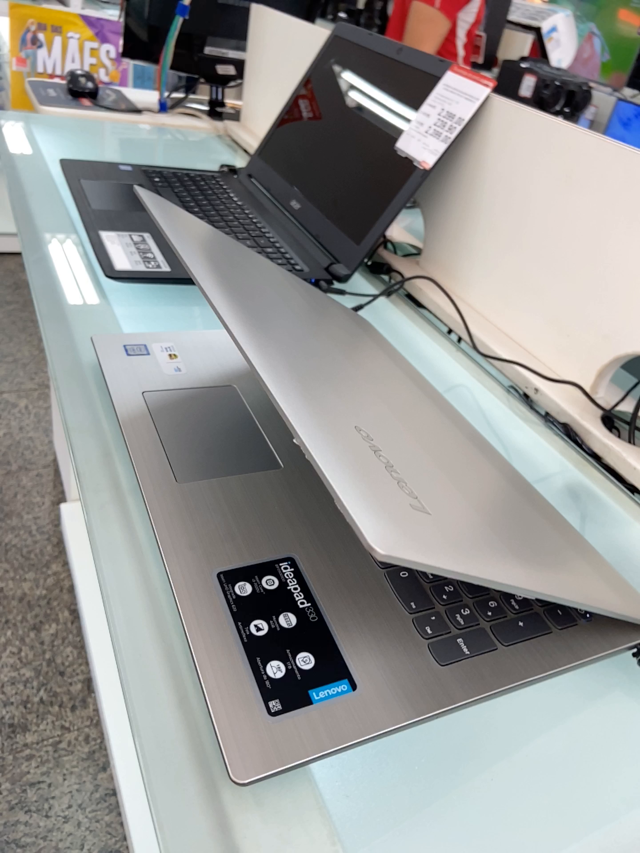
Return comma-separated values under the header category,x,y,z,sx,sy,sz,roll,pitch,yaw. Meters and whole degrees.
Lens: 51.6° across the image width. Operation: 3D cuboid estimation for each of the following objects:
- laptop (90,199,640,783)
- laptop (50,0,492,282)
category,x,y,z,sx,sy,sz,roll,pitch,yaw
laptop,0.013,-0.025,0.414,0.246,0.114,0.370,-7,37,-24
laptop,-0.080,-0.364,0.790,0.401,0.211,0.356,-9,41,-28
